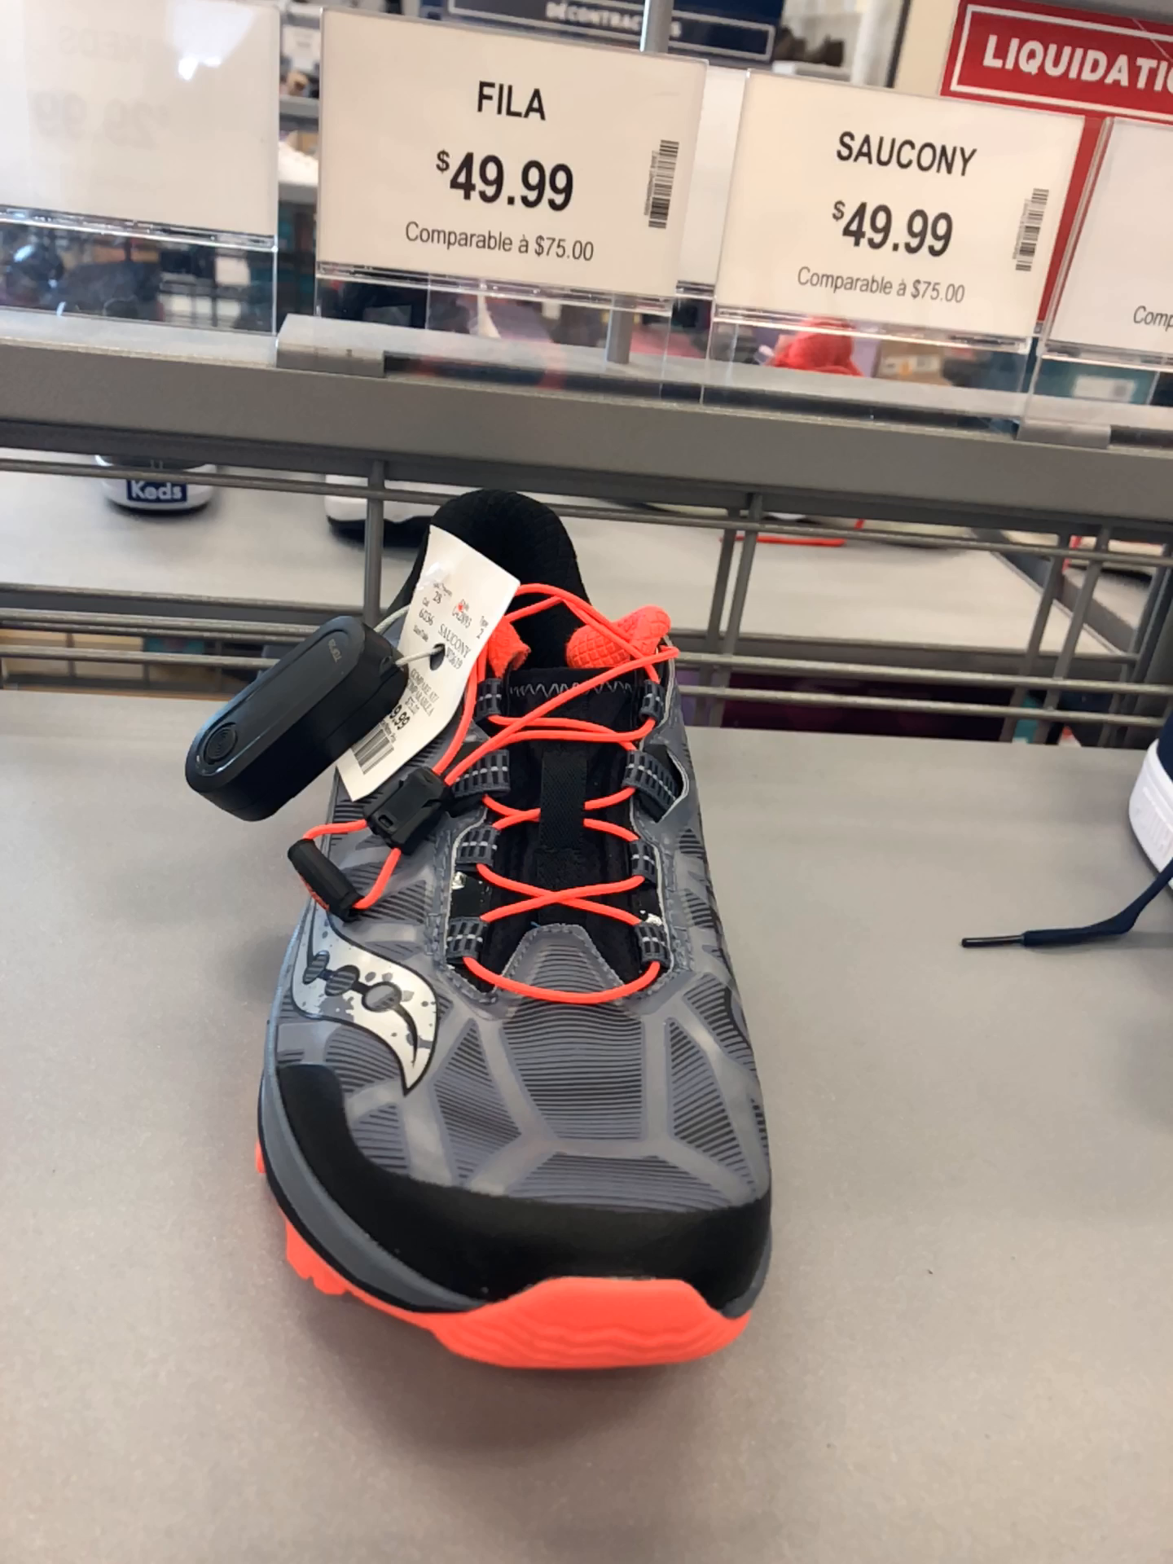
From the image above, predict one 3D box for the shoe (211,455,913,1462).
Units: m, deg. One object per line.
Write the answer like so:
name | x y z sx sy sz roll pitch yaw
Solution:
shoe | -0.029 0.009 0.352 0.110 0.109 0.292 2 28 -11
